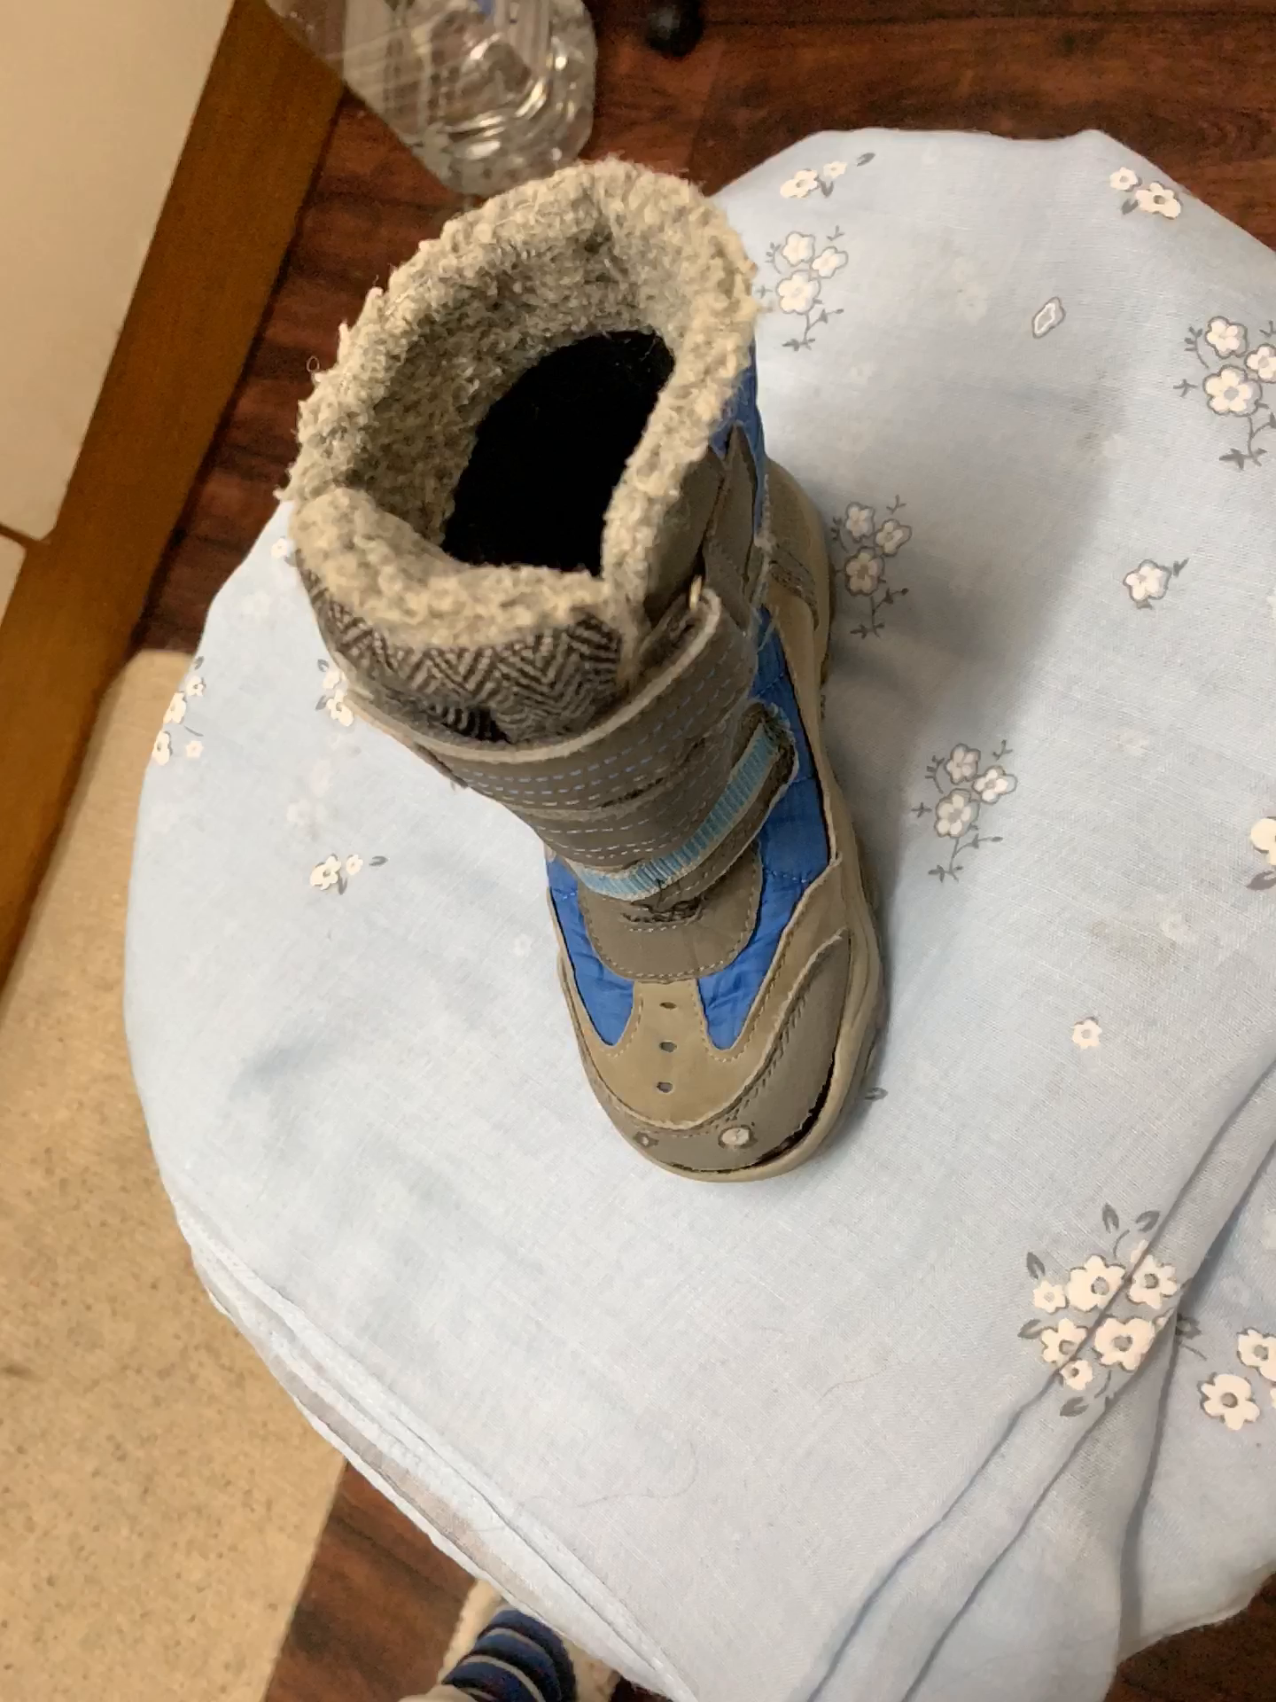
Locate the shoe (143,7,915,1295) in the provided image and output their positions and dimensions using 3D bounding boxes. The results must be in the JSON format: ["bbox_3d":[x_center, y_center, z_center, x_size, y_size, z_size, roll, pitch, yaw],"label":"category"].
[{"bbox_3d":[-0.003,-0.023,0.285,0.090,0.159,0.200,-3,79,25],"label":"shoe"}]
